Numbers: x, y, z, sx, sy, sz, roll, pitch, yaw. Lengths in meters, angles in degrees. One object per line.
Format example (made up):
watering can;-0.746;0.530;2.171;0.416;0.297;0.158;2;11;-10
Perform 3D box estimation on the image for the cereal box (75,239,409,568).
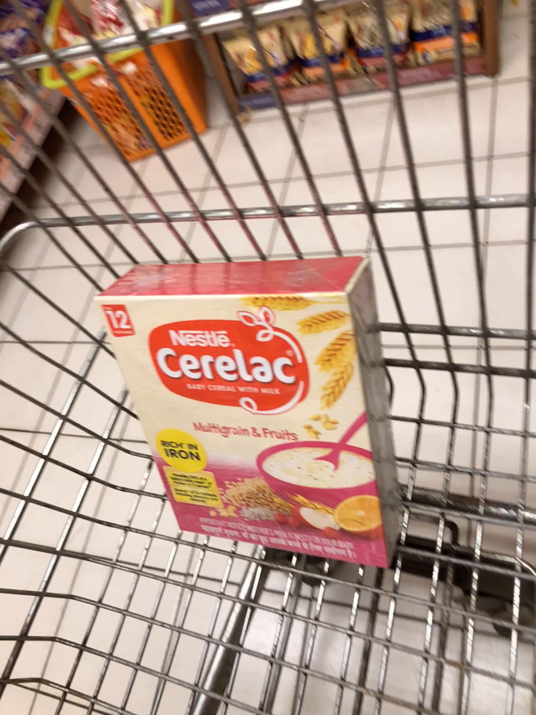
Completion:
cereal box;-0.007;0.031;0.361;0.160;0.189;0.050;2;33;25
